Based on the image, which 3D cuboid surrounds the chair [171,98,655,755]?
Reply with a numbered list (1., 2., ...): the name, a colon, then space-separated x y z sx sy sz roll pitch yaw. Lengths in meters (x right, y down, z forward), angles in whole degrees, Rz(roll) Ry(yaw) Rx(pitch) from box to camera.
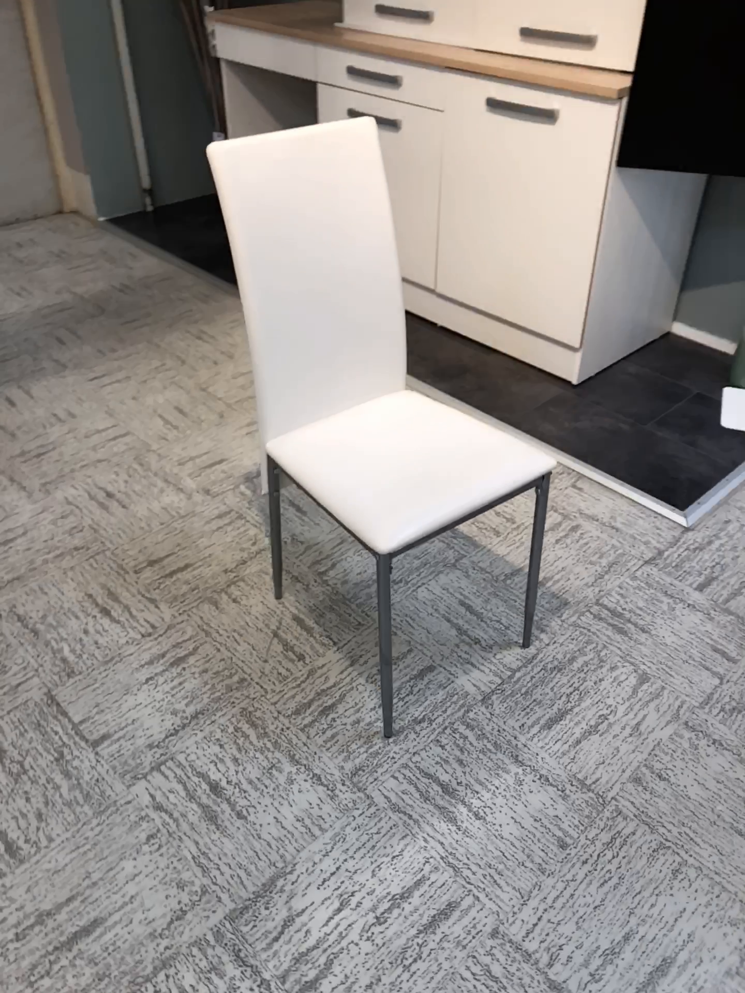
1. chair: 0.036 -0.131 1.481 0.472 0.944 0.551 -23 43 -29
